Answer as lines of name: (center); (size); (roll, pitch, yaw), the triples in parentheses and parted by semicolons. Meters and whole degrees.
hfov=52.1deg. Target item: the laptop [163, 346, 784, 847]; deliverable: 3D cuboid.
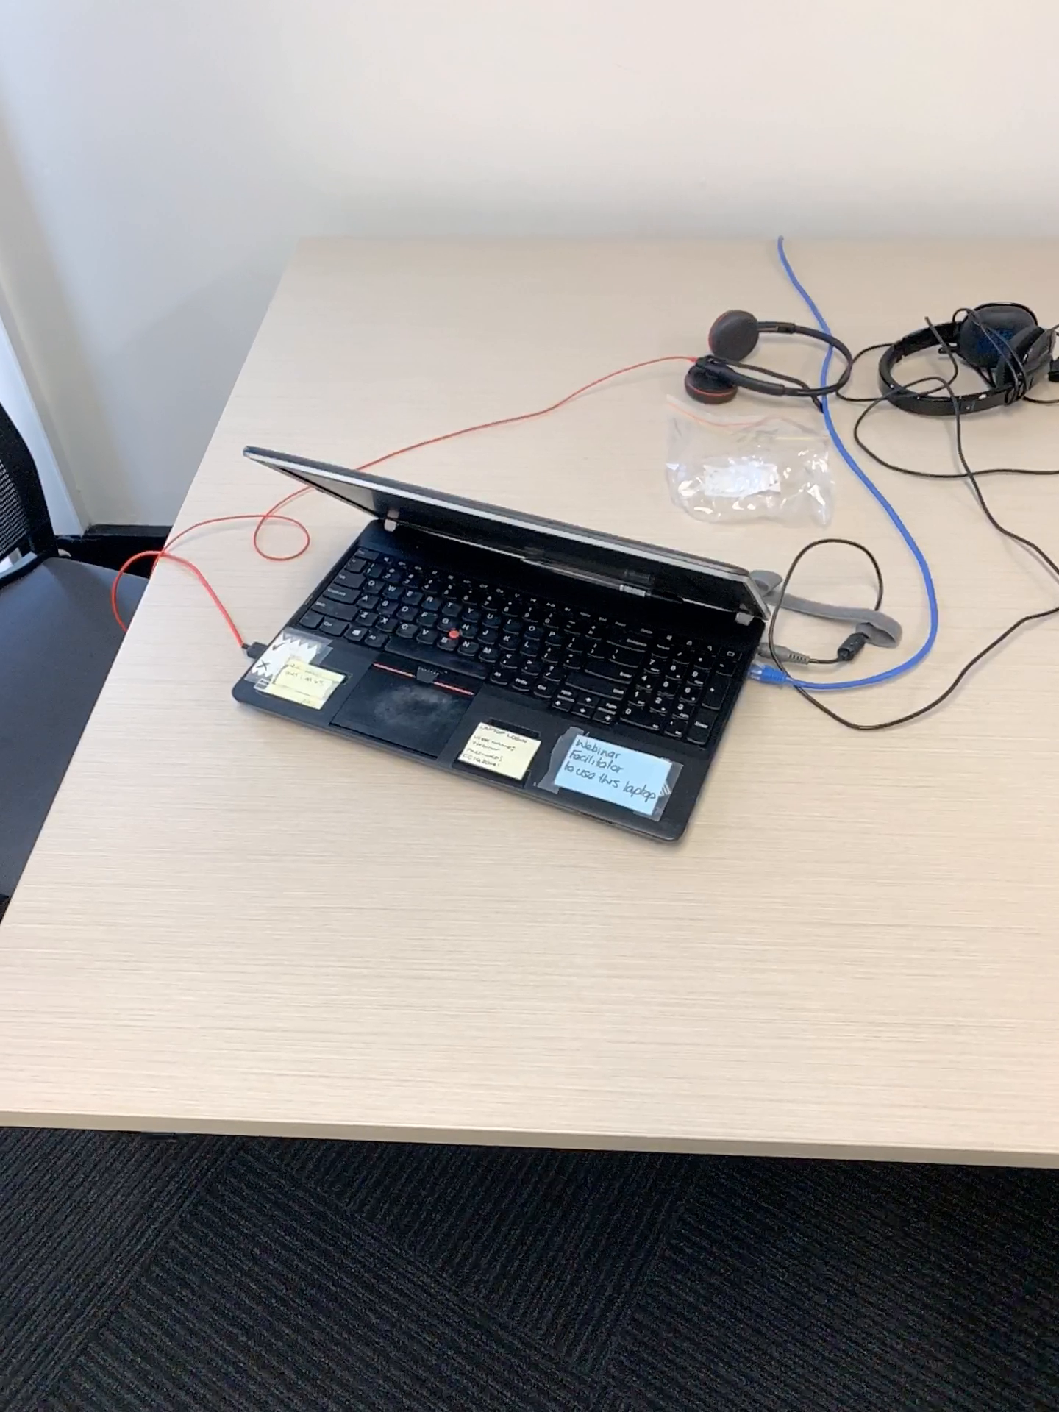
laptop: (-0.024, -0.089, 0.714); (0.326, 0.157, 0.227); (16, 46, 18)
